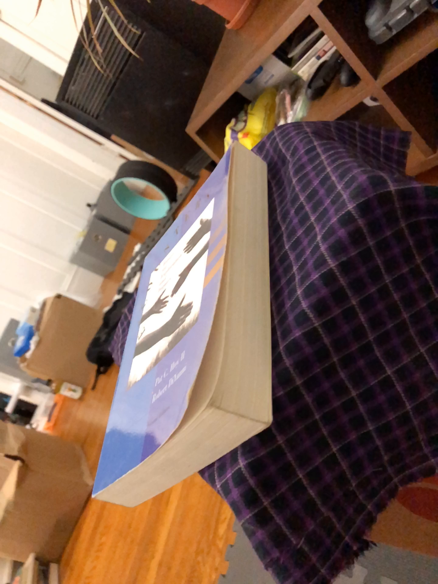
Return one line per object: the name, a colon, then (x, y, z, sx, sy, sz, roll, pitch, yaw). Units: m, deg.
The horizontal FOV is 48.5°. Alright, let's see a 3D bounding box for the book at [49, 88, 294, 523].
book: (-0.031, 0.002, 0.352, 0.200, 0.040, 0.261, -44, 29, 40)
